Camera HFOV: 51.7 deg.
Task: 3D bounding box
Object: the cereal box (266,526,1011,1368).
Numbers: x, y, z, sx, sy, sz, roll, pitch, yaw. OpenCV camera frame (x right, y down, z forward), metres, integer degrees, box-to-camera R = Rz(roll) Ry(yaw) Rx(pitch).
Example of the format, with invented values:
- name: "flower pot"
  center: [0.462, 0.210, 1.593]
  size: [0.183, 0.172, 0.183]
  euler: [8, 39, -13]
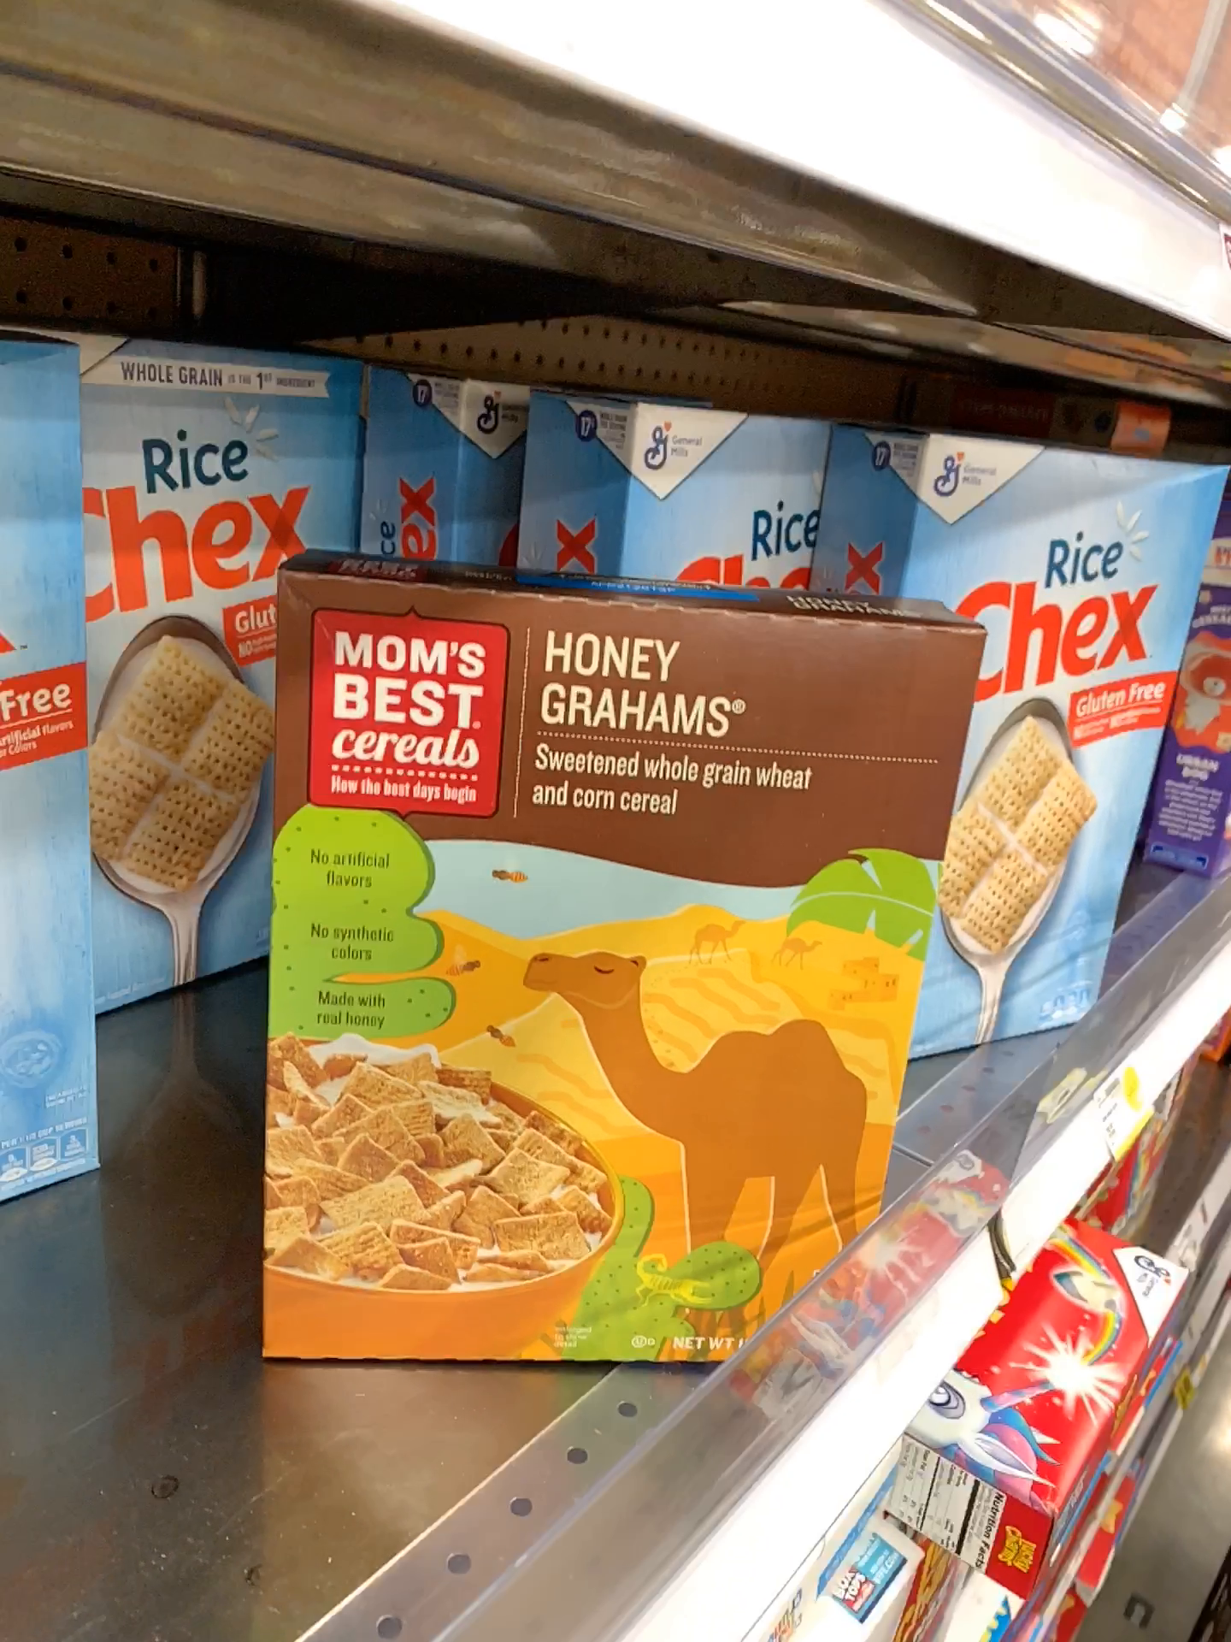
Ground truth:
- name: "cereal box"
  center: [-0.003, 0.049, 0.404]
  size: [0.200, 0.259, 0.050]
  euler: [3, 18, -7]
